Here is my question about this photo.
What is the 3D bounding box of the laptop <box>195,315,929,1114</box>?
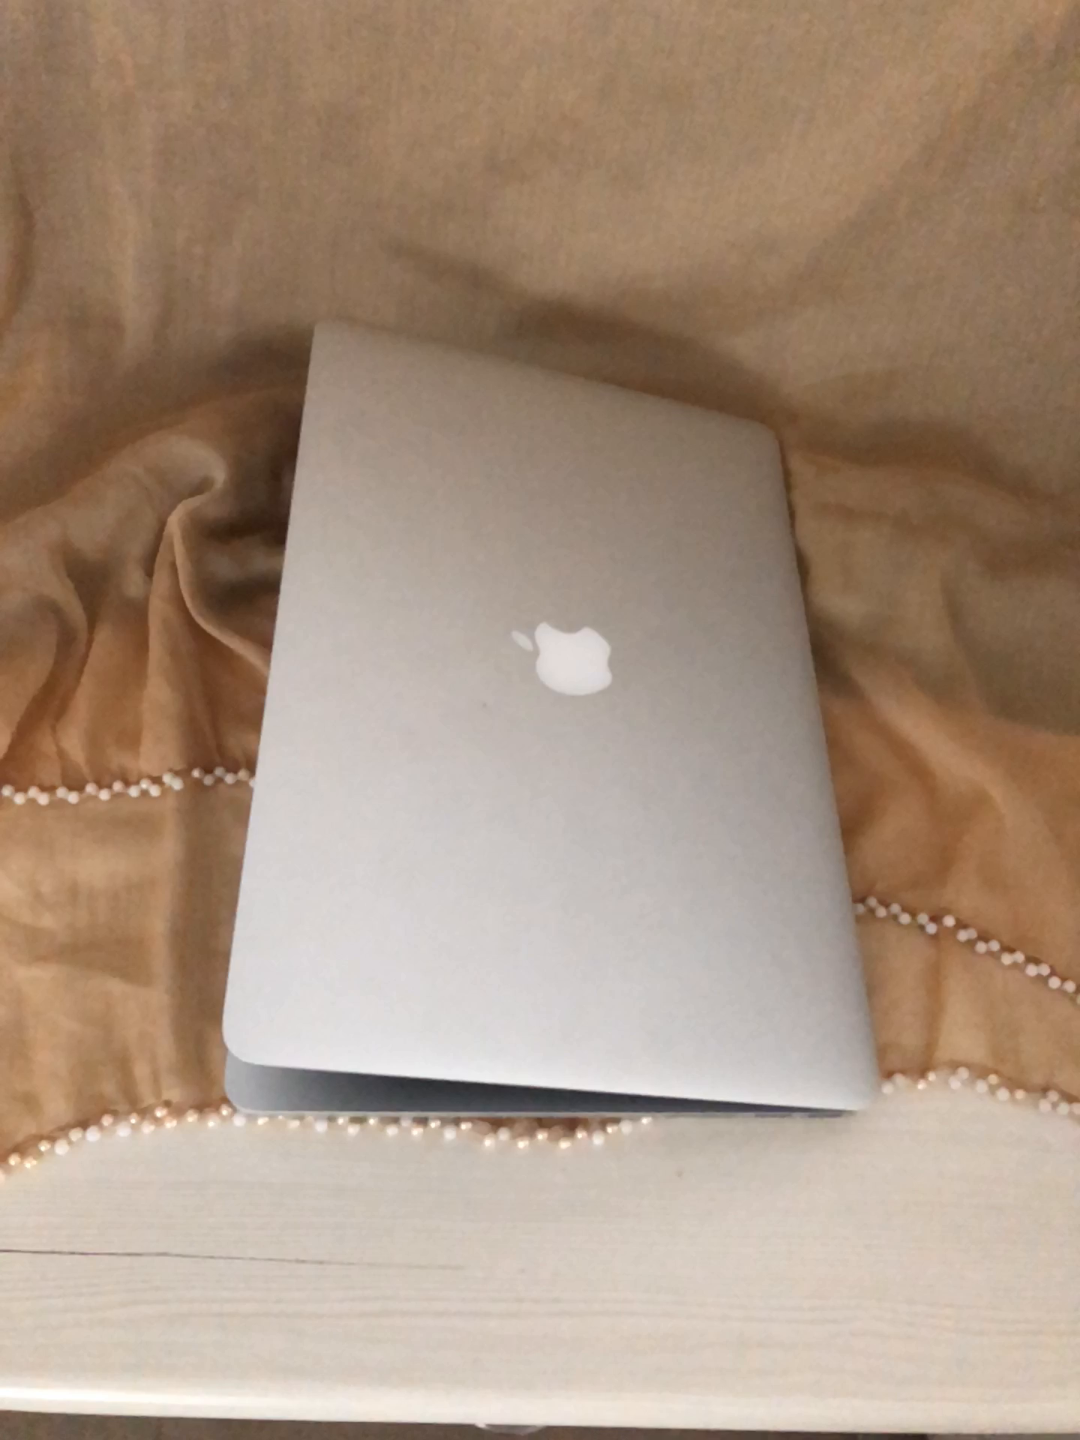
[{"bbox_3d":[0.005,-0.023,0.510,0.239,0.063,0.353,2,57,-3],"label":"laptop"}]
